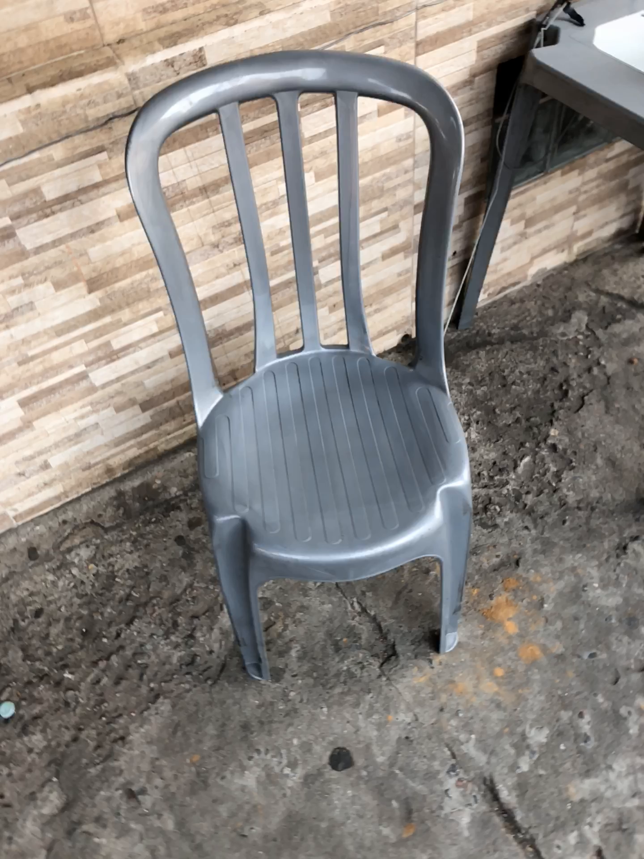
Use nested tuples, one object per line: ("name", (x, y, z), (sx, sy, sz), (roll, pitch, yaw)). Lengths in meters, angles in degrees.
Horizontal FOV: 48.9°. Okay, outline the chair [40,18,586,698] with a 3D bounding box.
("chair", (-0.001, -0.026, 1.047), (0.440, 0.835, 0.503), (-9, 51, -1))
